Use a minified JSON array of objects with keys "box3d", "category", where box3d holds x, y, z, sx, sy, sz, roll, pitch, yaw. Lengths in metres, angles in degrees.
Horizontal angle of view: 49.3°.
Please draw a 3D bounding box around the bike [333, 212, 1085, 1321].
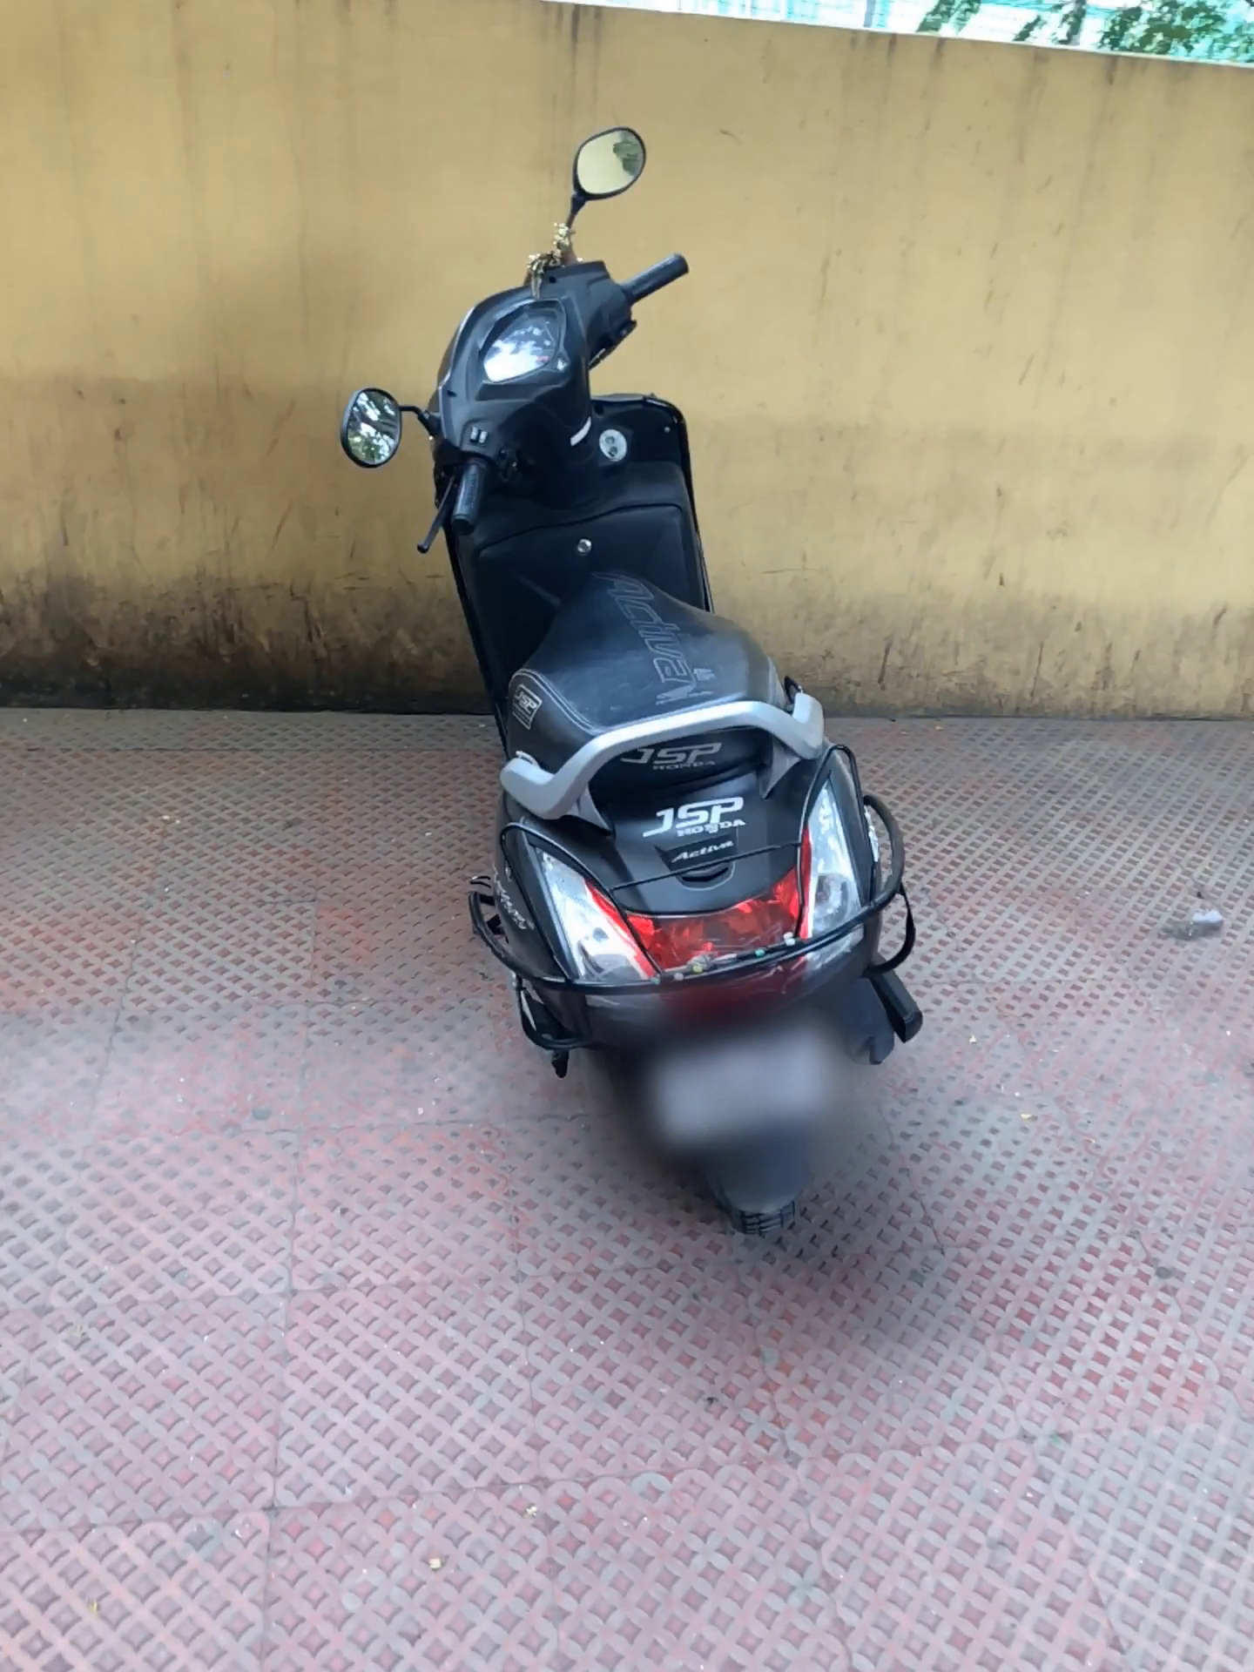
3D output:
[{"box3d":[-0.089,-0.285,2.134,0.593,1.044,1.592,-3,31,-15],"category":"bike"}]
